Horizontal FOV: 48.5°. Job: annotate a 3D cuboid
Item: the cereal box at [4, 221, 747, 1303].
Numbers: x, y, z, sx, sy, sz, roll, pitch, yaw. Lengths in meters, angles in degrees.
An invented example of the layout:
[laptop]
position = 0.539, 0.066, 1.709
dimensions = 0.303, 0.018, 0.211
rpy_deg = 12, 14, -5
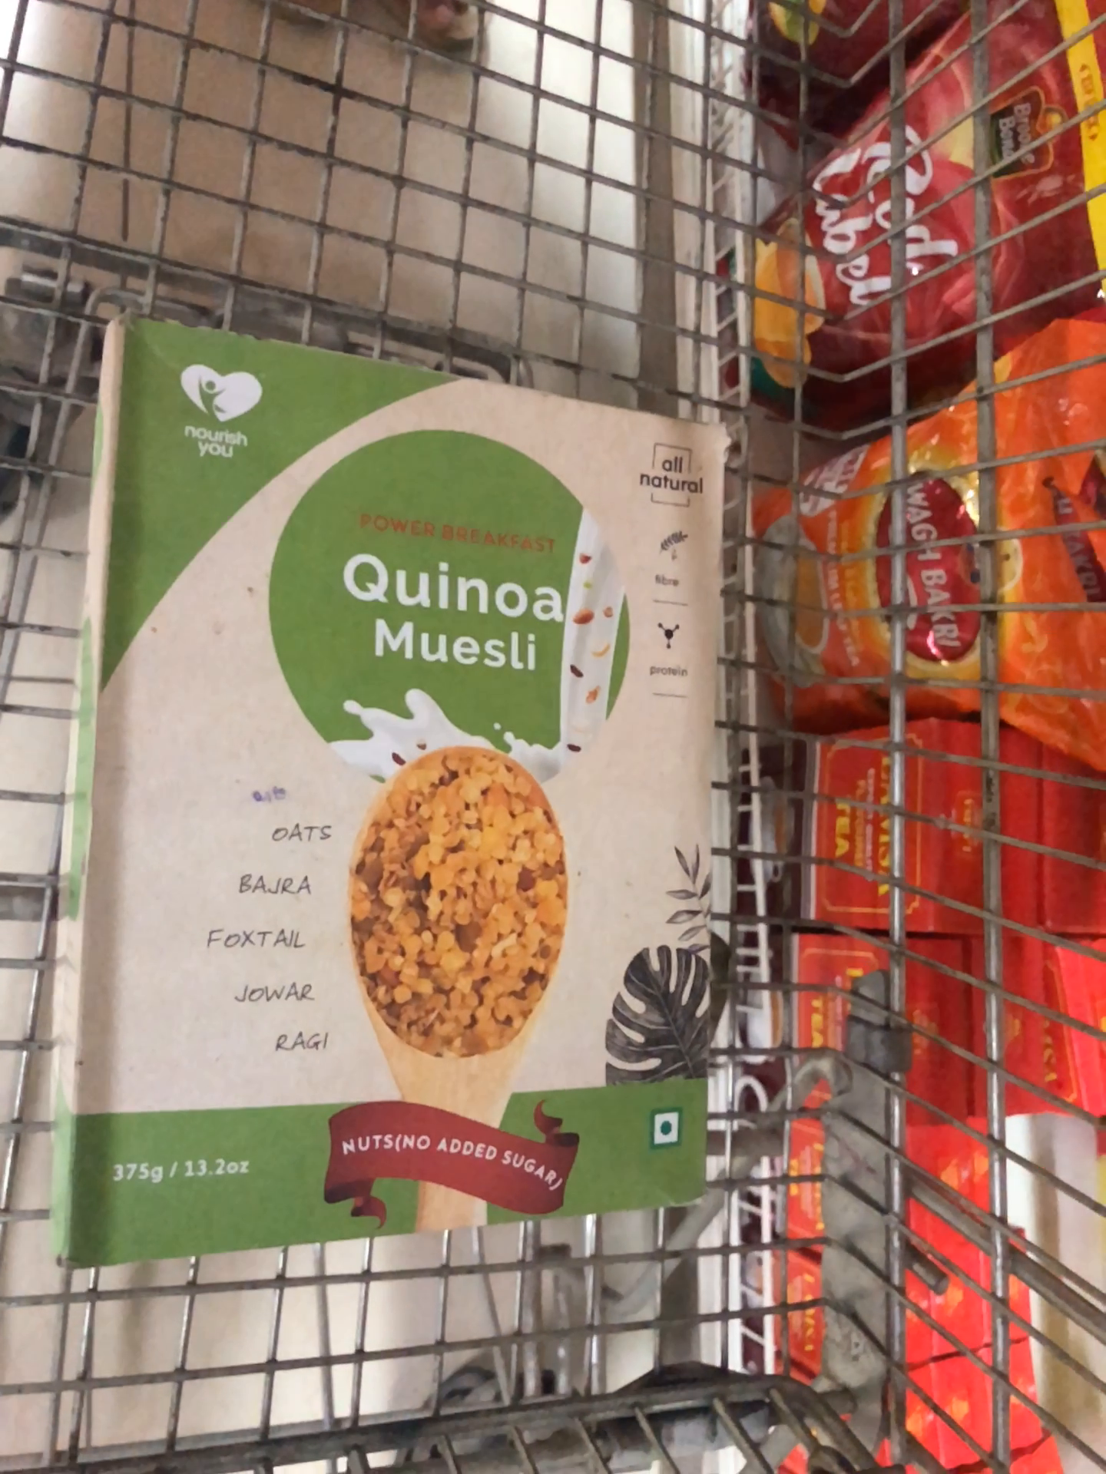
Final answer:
[cereal box]
position = -0.039, 0.008, 0.300
dimensions = 0.160, 0.060, 0.210
rpy_deg = 4, 86, -26
